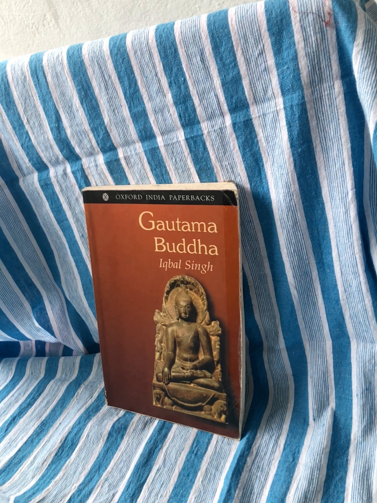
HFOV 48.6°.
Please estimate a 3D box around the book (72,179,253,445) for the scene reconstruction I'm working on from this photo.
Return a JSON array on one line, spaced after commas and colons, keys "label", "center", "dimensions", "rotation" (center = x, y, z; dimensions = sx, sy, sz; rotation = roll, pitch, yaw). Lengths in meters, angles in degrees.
[{"label": "book", "center": [-0.021, 0.046, 0.364], "dimensions": [0.140, 0.209, 0.040], "rotation": [3, 14, 26]}]
